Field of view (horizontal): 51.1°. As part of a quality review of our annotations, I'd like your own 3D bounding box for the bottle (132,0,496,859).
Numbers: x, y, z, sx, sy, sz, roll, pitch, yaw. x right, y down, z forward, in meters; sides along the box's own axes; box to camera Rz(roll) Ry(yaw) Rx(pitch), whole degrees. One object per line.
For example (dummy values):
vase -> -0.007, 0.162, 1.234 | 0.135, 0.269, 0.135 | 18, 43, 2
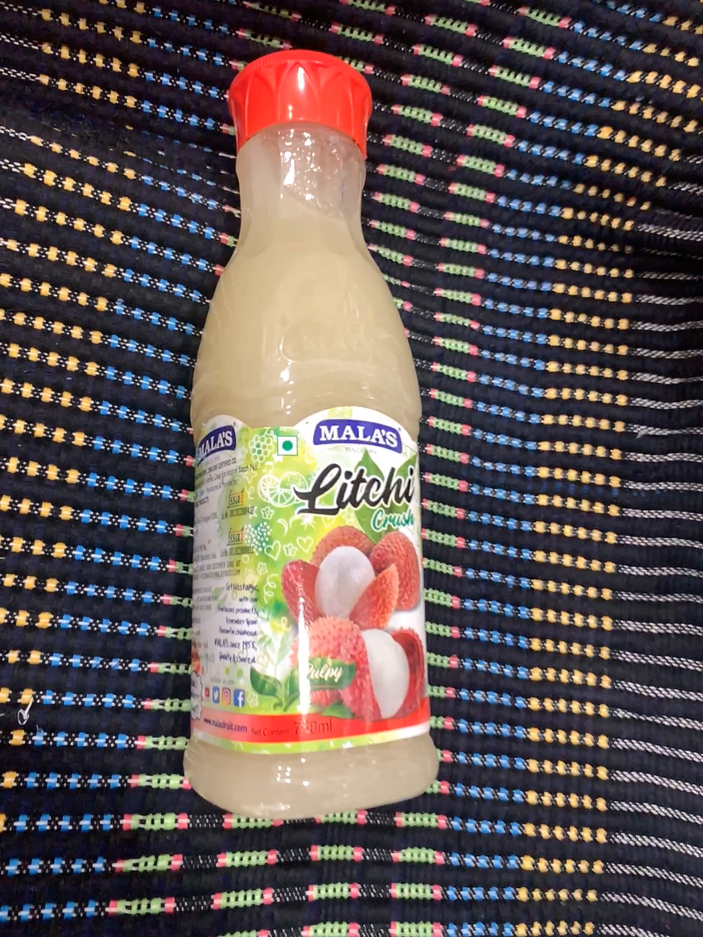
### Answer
bottle -> -0.017, -0.033, 0.237 | 0.080, 0.080, 0.260 | 4, 79, -29
